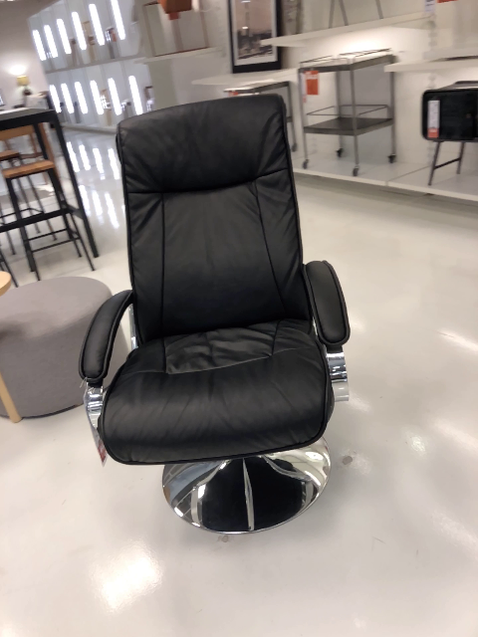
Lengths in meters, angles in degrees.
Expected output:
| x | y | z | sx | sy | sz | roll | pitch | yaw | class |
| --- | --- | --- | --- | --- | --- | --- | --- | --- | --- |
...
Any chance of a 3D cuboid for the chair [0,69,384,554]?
| x | y | z | sx | sy | sz | roll | pitch | yaw | class |
| --- | --- | --- | --- | --- | --- | --- | --- | --- | --- |
| -0.070 | -0.062 | 1.446 | 0.730 | 0.992 | 0.806 | -7 | 27 | 6 | chair |
